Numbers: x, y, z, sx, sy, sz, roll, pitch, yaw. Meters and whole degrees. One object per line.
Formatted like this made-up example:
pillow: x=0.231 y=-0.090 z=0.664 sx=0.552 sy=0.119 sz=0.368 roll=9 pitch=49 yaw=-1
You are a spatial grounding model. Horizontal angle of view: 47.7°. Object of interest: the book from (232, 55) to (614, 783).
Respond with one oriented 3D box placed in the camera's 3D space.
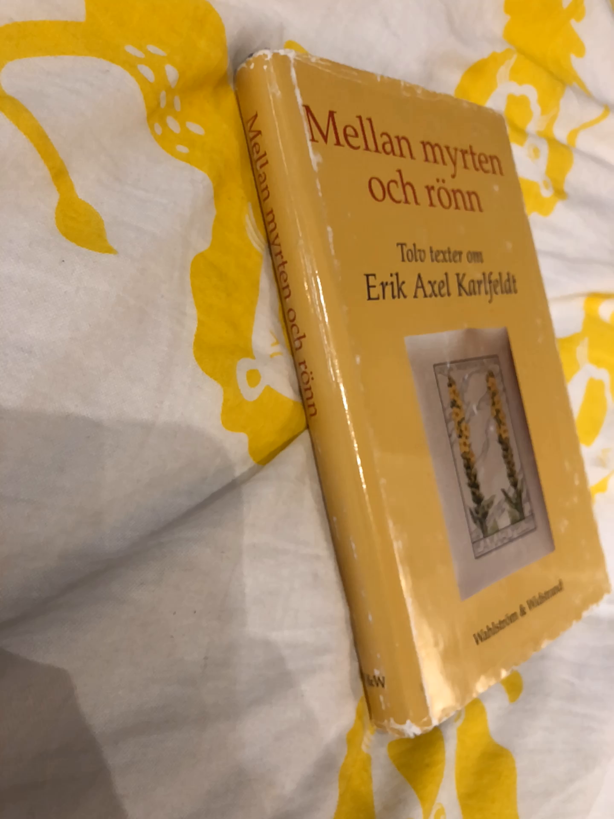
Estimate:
book: x=0.059 y=-0.006 z=0.259 sx=0.142 sy=0.030 sz=0.215 roll=-9 pitch=84 yaw=-43
